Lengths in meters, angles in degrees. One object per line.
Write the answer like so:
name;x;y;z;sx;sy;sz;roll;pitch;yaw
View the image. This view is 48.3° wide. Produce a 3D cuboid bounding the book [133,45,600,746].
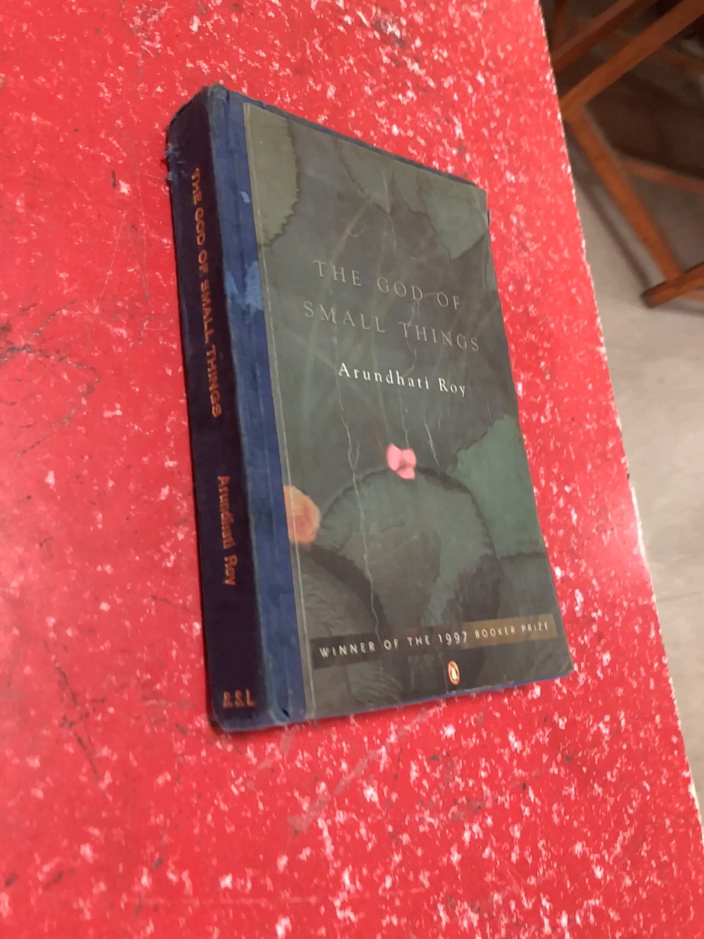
book;0.006;-0.026;0.292;0.151;0.040;0.220;2;73;-37
